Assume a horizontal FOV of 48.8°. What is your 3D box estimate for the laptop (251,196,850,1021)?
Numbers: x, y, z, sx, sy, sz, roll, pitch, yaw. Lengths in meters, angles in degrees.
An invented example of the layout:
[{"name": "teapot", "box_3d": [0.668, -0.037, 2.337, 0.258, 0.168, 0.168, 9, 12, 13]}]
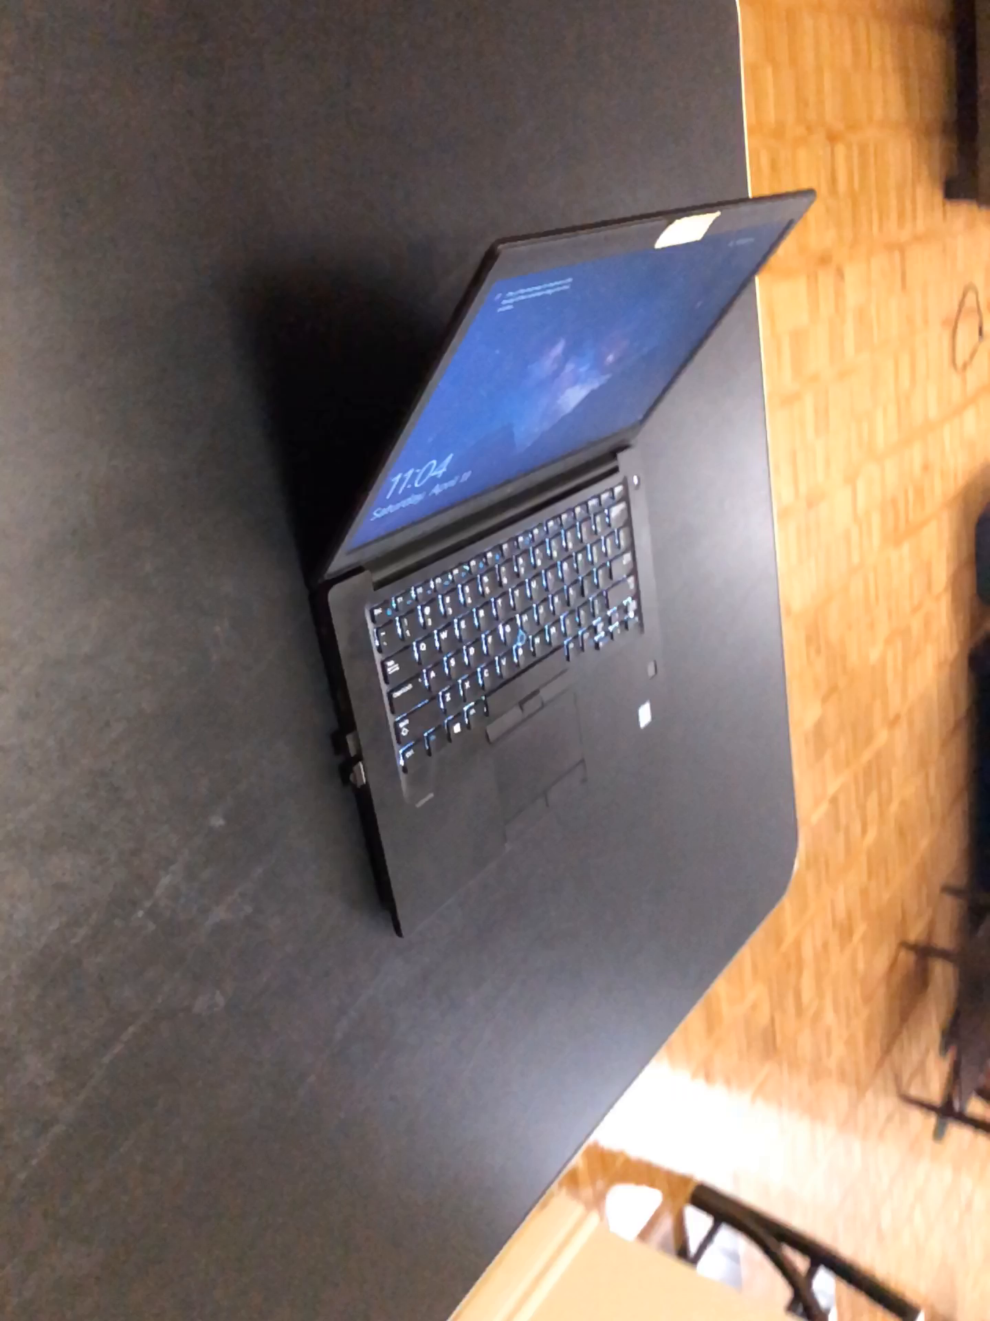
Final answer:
[{"name": "laptop", "box_3d": [0.069, -0.055, 0.643, 0.321, 0.140, 0.368, -32, 119, -45]}]
